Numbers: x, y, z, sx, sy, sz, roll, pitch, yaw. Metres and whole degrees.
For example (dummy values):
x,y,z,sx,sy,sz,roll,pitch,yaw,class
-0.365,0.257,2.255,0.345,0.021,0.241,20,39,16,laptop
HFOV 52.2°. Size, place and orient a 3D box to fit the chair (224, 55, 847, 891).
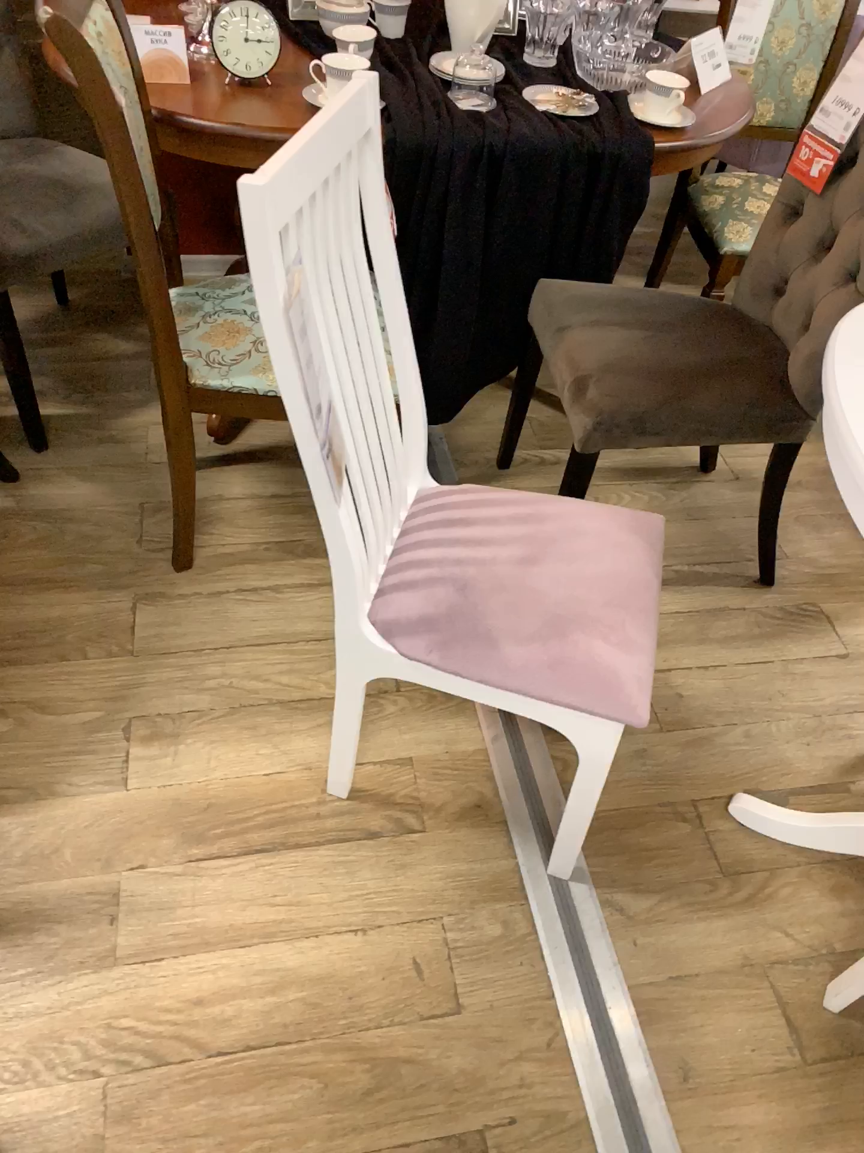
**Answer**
x,y,z,sx,sy,sz,roll,pitch,yaw,class
0.080,-0.064,1.229,0.520,1.002,0.443,13,45,6,chair
